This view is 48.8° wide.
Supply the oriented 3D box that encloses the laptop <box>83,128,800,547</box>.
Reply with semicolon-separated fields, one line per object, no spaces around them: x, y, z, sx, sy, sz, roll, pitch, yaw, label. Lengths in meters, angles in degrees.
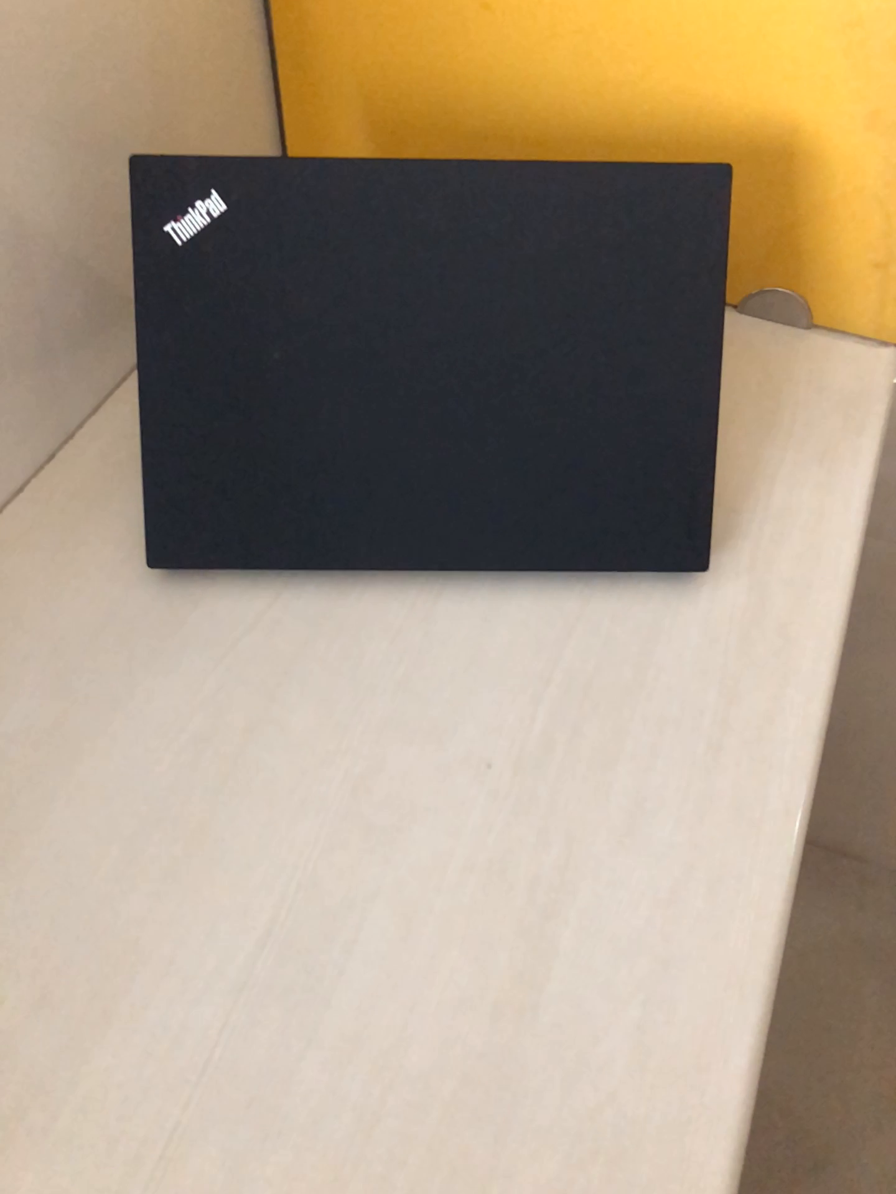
-0.008;-0.169;0.629;0.349;0.166;0.241;0;48;-1;laptop
